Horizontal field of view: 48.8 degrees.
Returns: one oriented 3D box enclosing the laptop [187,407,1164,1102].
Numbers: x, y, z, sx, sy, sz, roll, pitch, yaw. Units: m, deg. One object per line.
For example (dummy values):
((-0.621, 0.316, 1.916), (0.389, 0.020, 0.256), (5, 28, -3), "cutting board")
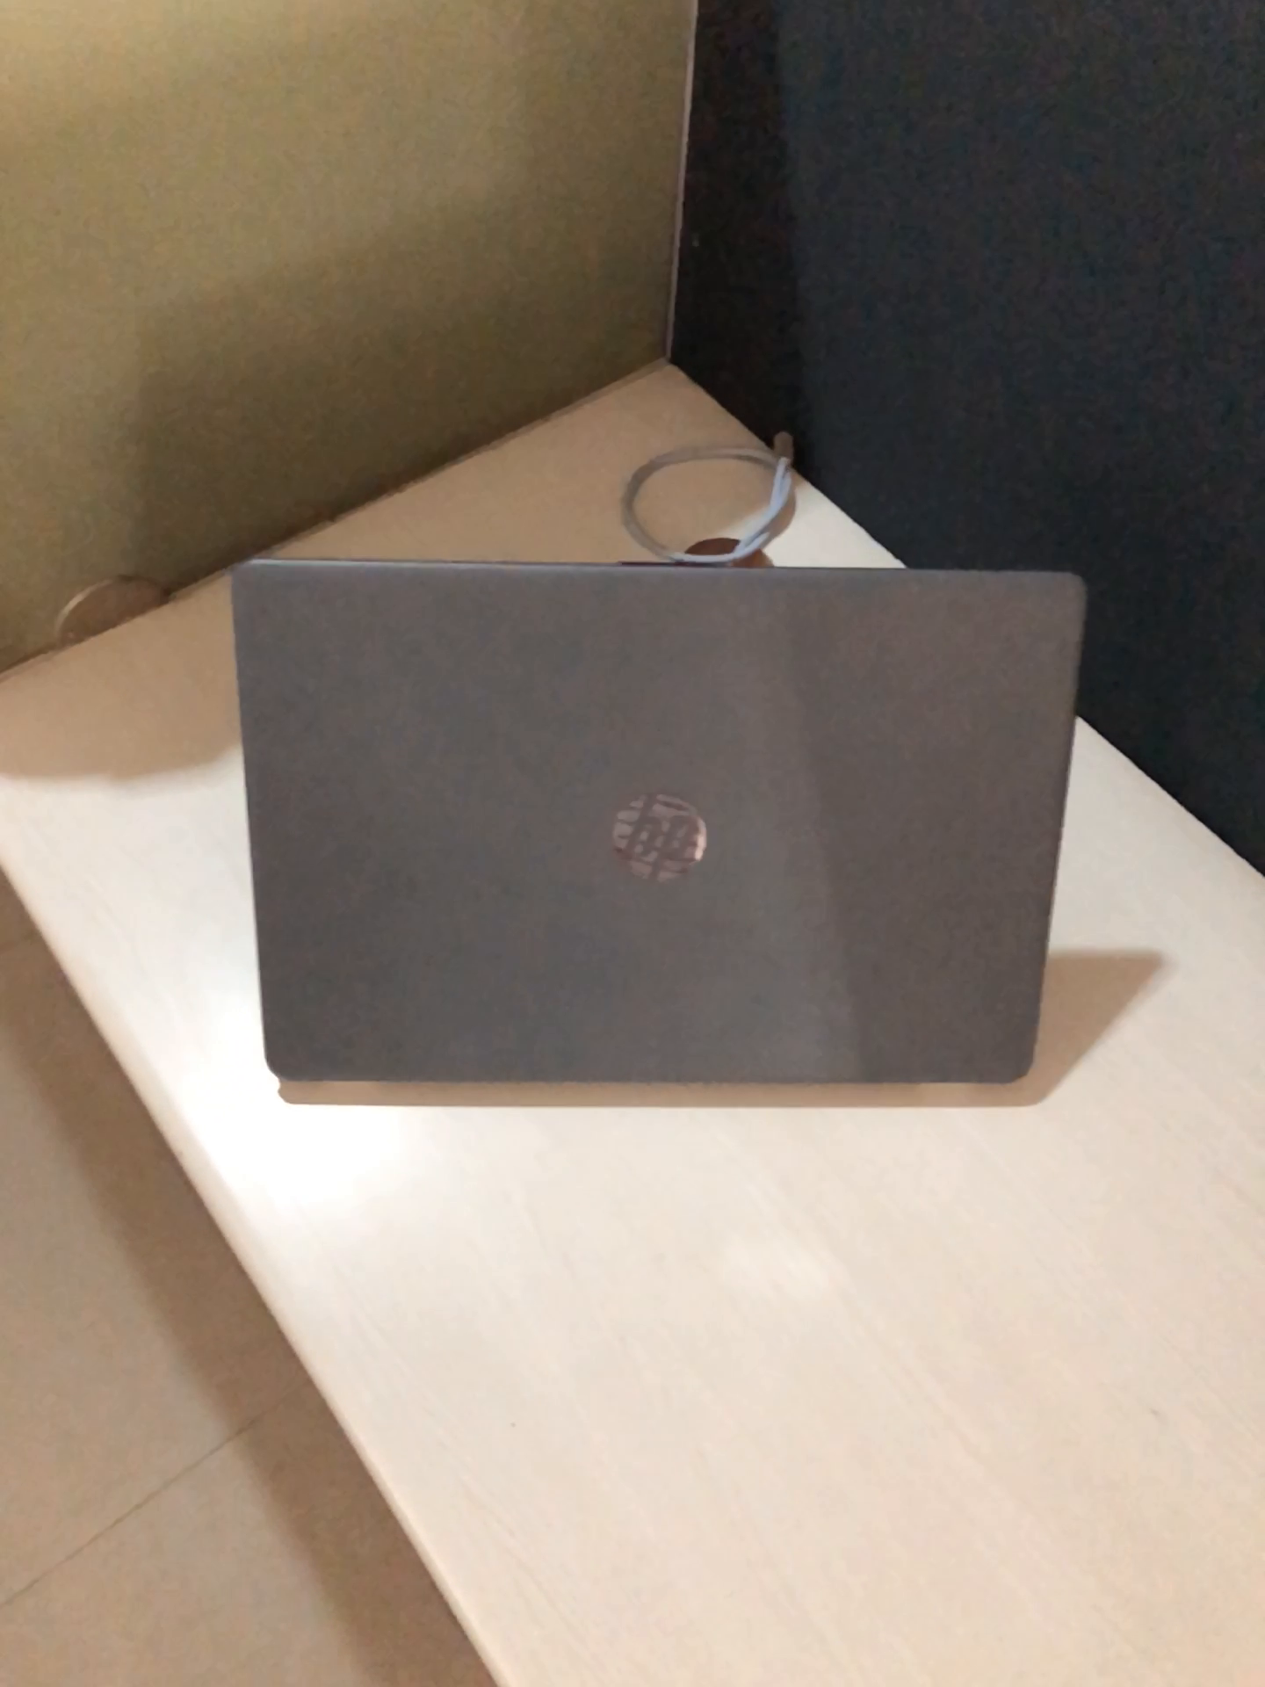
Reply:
((0.011, -0.037, 0.664), (0.361, 0.204, 0.248), (1, 58, -1), "laptop")
